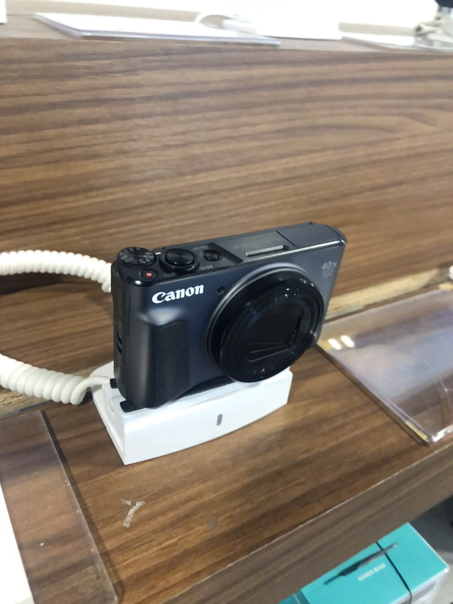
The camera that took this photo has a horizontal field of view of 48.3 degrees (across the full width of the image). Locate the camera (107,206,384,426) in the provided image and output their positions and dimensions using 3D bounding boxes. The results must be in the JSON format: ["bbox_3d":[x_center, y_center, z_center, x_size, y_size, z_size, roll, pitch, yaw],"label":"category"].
[{"bbox_3d":[0.008,0.001,0.219,0.109,0.063,0.037,-14,40,-29],"label":"camera"}]
